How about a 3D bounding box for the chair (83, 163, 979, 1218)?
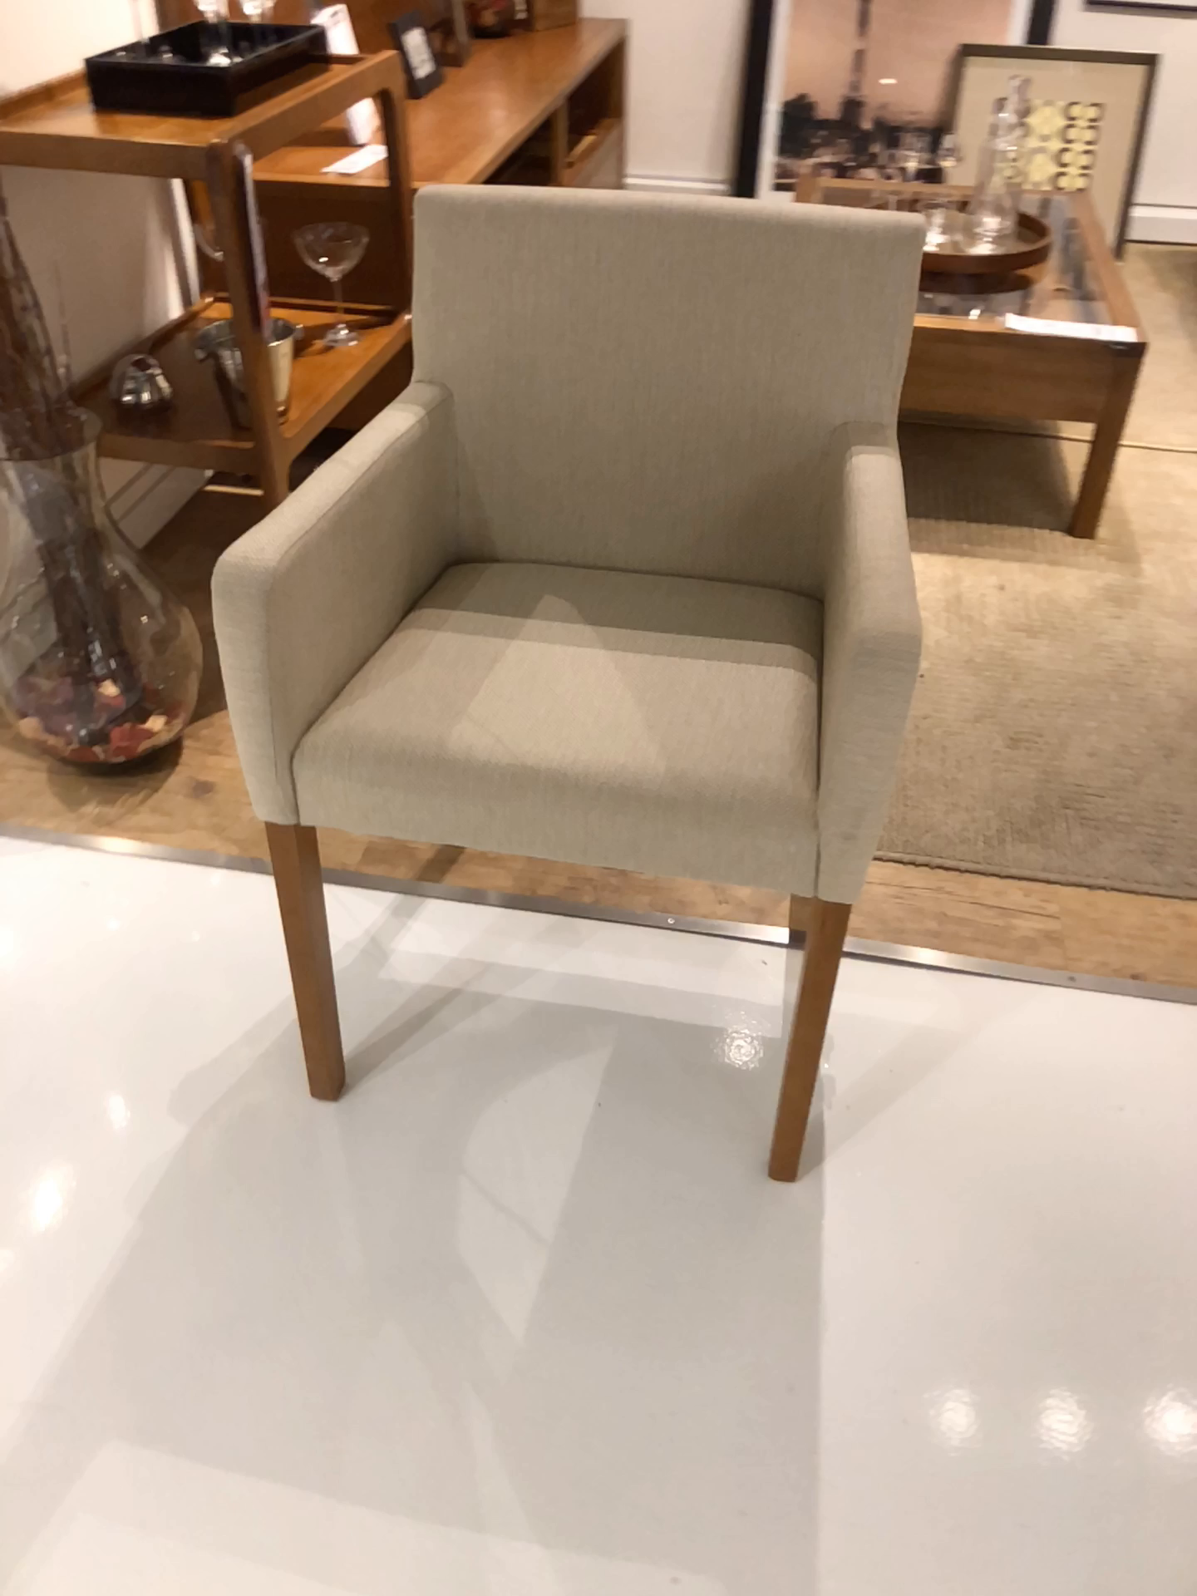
[{"bbox_3d":[-0.003,-0.125,1.340,0.600,0.793,0.625,8,39,8],"label":"chair"}]
